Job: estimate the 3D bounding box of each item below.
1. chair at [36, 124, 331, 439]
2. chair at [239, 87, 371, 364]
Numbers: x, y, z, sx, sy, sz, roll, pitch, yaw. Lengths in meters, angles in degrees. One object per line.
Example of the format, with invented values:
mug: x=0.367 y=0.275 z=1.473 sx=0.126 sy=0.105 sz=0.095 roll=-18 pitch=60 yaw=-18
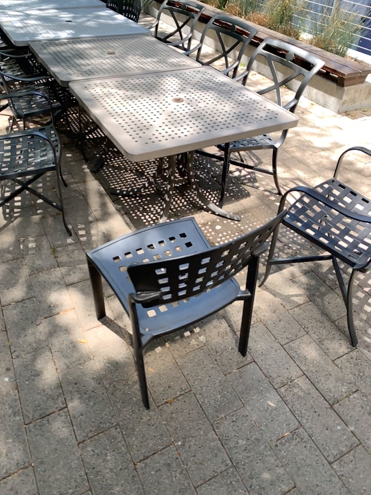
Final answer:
chair: x=-0.047 y=0.081 z=1.343 sx=0.621 sy=0.706 sz=0.653 roll=-22 pitch=47 yaw=-25
chair: x=0.721 y=-0.122 z=1.569 sx=0.652 sy=0.756 sz=0.622 roll=31 pitch=49 yaw=28
